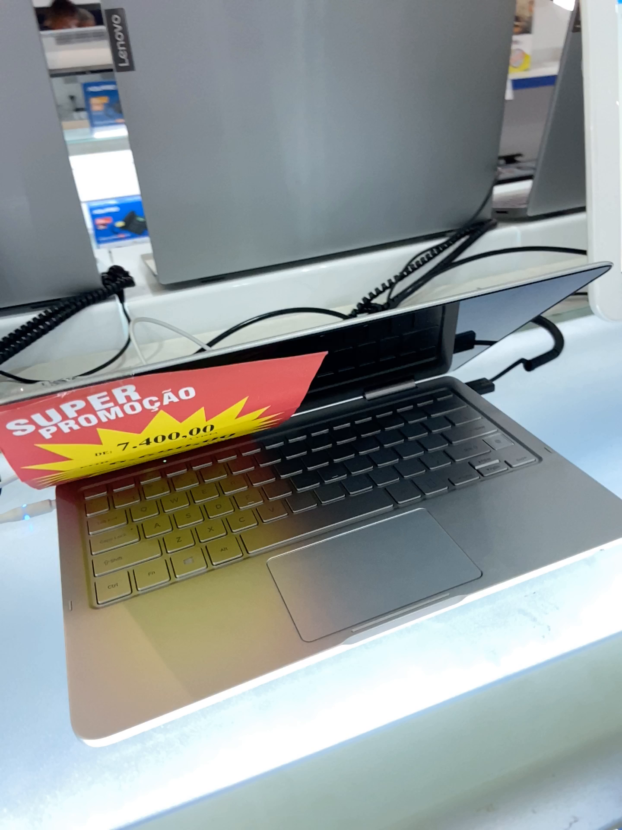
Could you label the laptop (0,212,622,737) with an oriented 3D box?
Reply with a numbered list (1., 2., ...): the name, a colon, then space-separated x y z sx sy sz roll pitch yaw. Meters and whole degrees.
1. laptop: 0.004 -0.005 0.362 0.306 0.132 0.202 -15 31 -16
